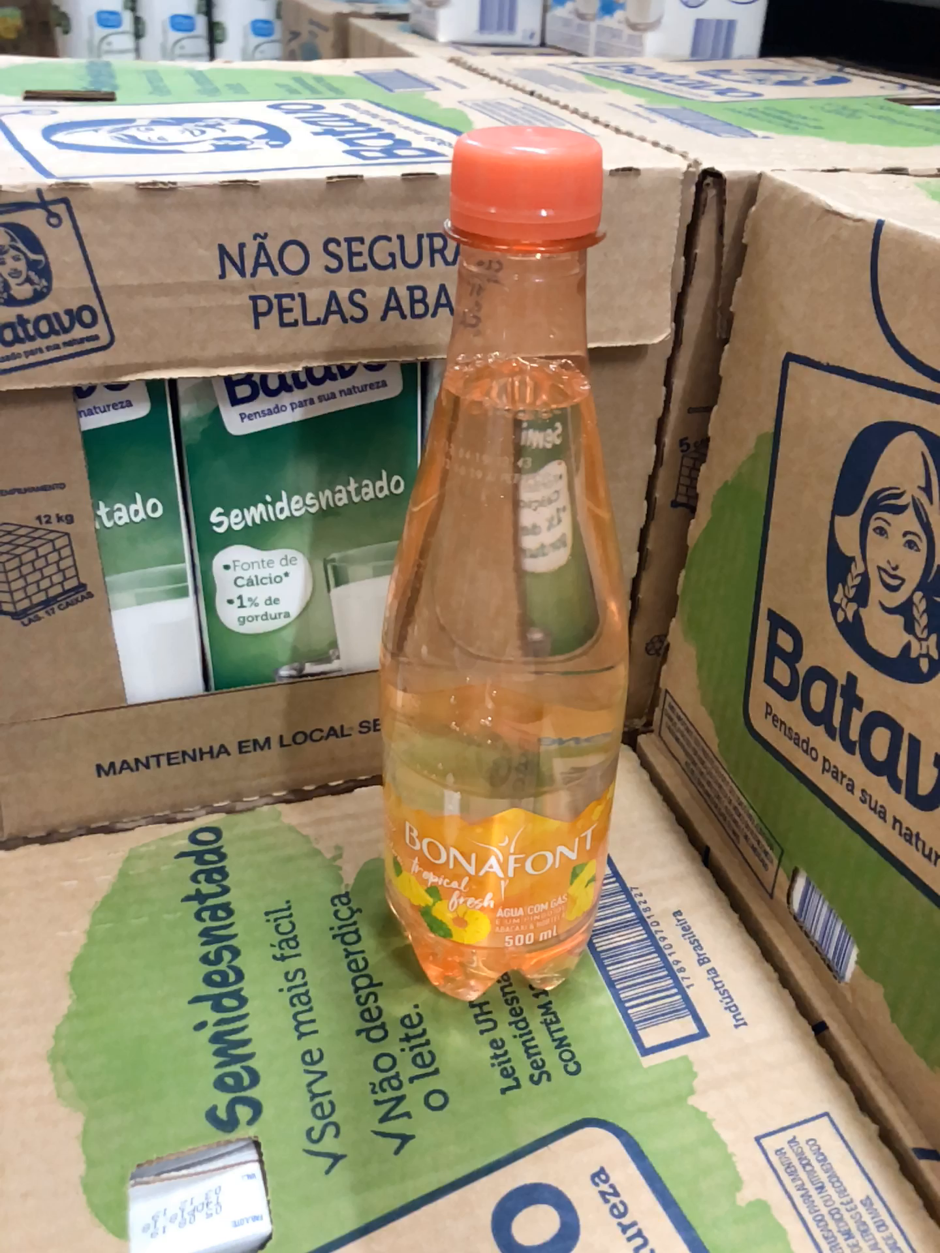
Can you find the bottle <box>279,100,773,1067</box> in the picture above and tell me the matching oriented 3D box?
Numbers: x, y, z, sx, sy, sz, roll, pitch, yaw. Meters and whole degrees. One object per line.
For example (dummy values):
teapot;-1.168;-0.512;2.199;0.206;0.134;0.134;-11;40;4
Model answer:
bottle;0.010;0.001;0.265;0.080;0.228;0.071;12;35;14
